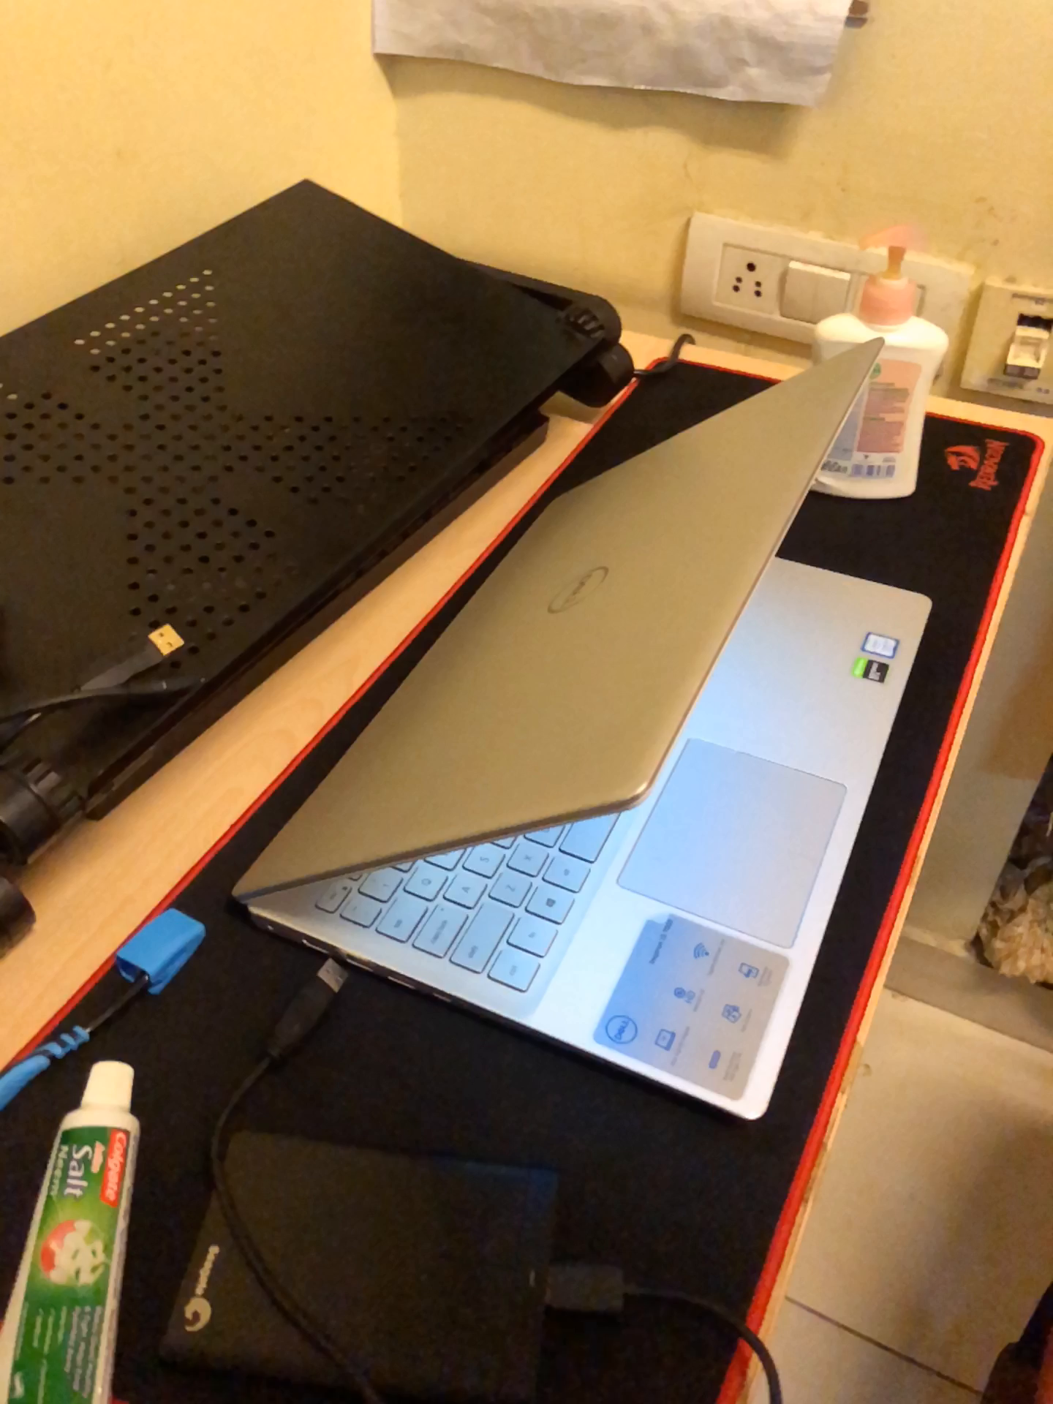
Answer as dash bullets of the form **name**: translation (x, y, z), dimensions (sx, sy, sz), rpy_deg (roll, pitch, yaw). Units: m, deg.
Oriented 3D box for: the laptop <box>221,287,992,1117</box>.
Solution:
- **laptop**: translation (0.064, -0.036, 0.547), dimensions (0.218, 0.139, 0.353), rpy_deg (18, 46, 16)
